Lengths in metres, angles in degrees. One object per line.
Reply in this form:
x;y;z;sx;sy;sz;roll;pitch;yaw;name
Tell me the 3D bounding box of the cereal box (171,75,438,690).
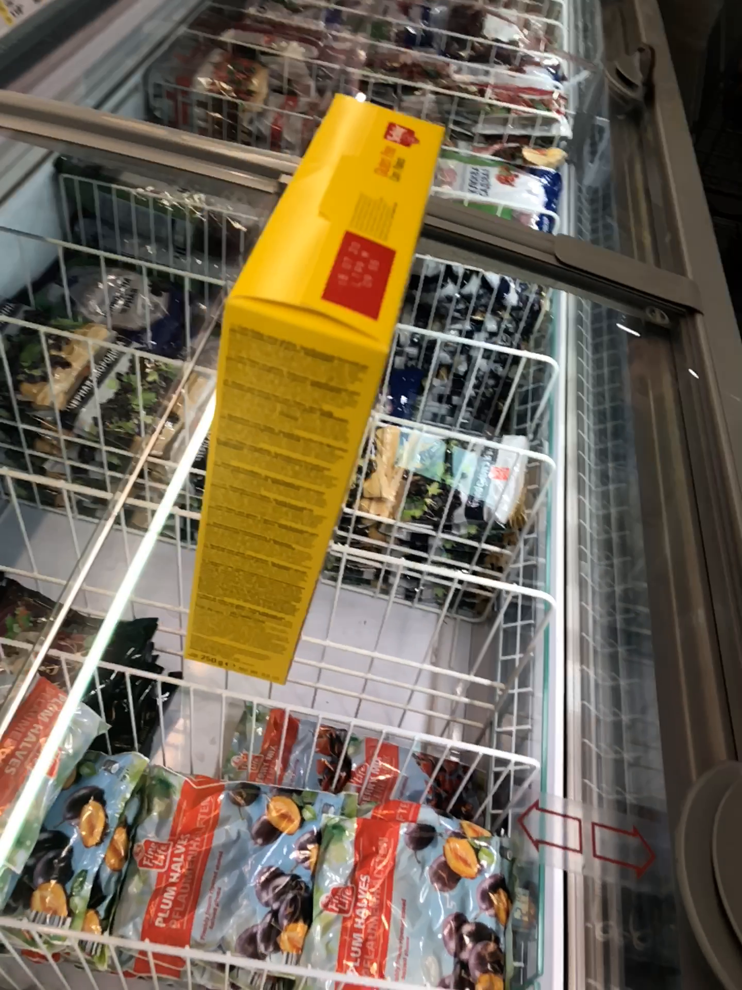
-0.037;-0.051;0.421;0.060;0.238;0.201;15;47;-3;cereal box
